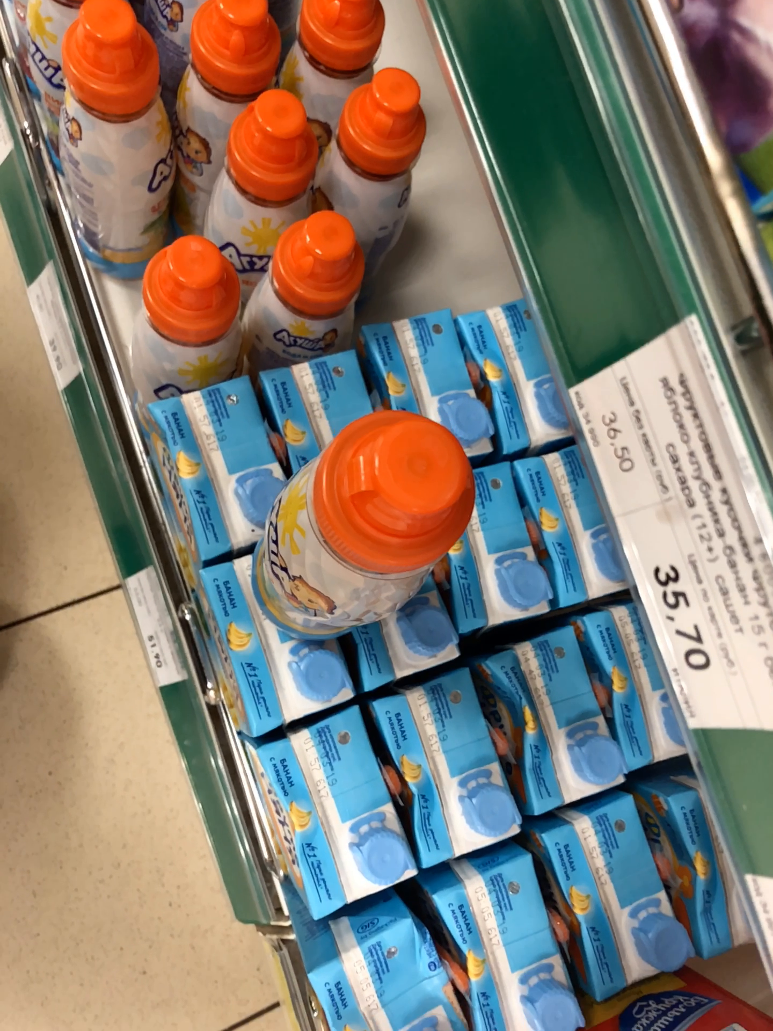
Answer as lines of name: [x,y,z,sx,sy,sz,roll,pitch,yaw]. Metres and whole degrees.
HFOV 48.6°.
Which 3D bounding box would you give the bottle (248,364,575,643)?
bottle: [-0.009,0.010,0.284,0.053,0.194,0.056,2,81,-13]
